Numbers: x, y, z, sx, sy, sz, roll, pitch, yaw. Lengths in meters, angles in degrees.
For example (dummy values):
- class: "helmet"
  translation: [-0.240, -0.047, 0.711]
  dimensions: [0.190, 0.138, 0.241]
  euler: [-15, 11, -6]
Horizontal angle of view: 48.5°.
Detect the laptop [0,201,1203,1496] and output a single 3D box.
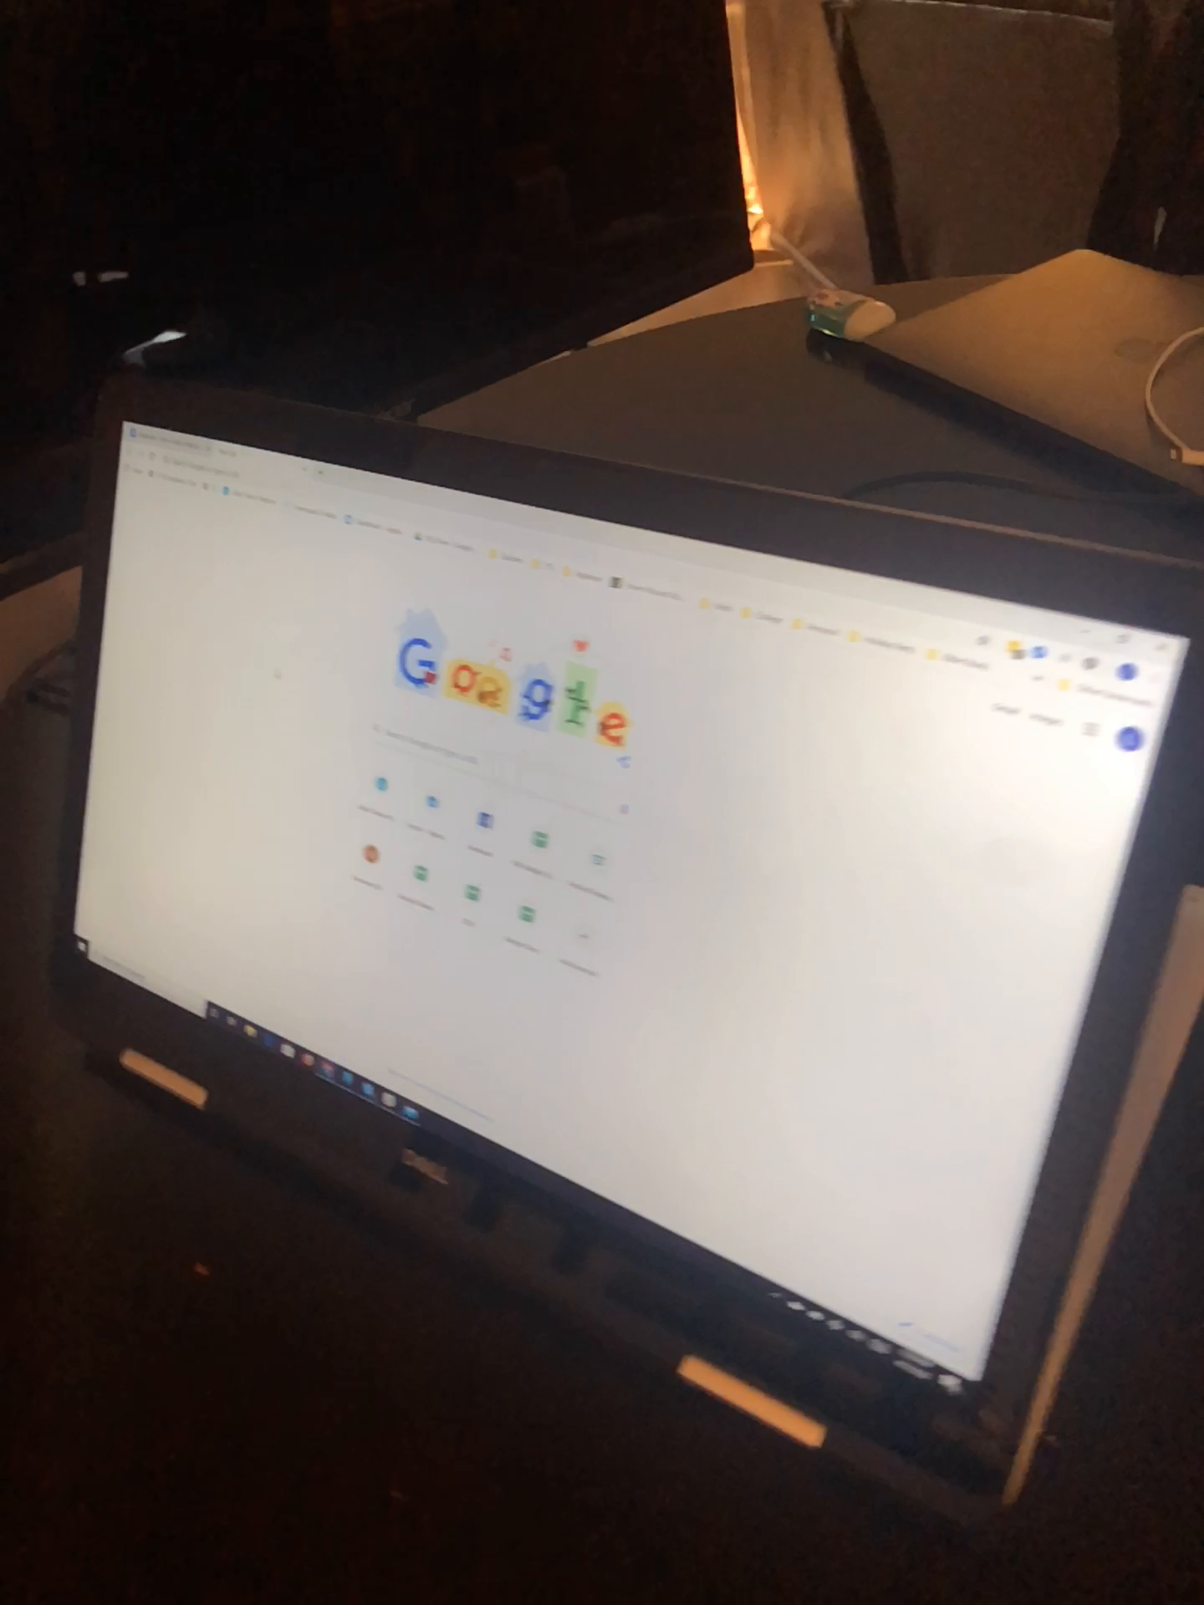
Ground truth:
- class: "laptop"
  translation: [-0.001, -0.034, 0.465]
  dimensions: [0.420, 0.232, 0.268]
  euler: [18, 49, 30]
